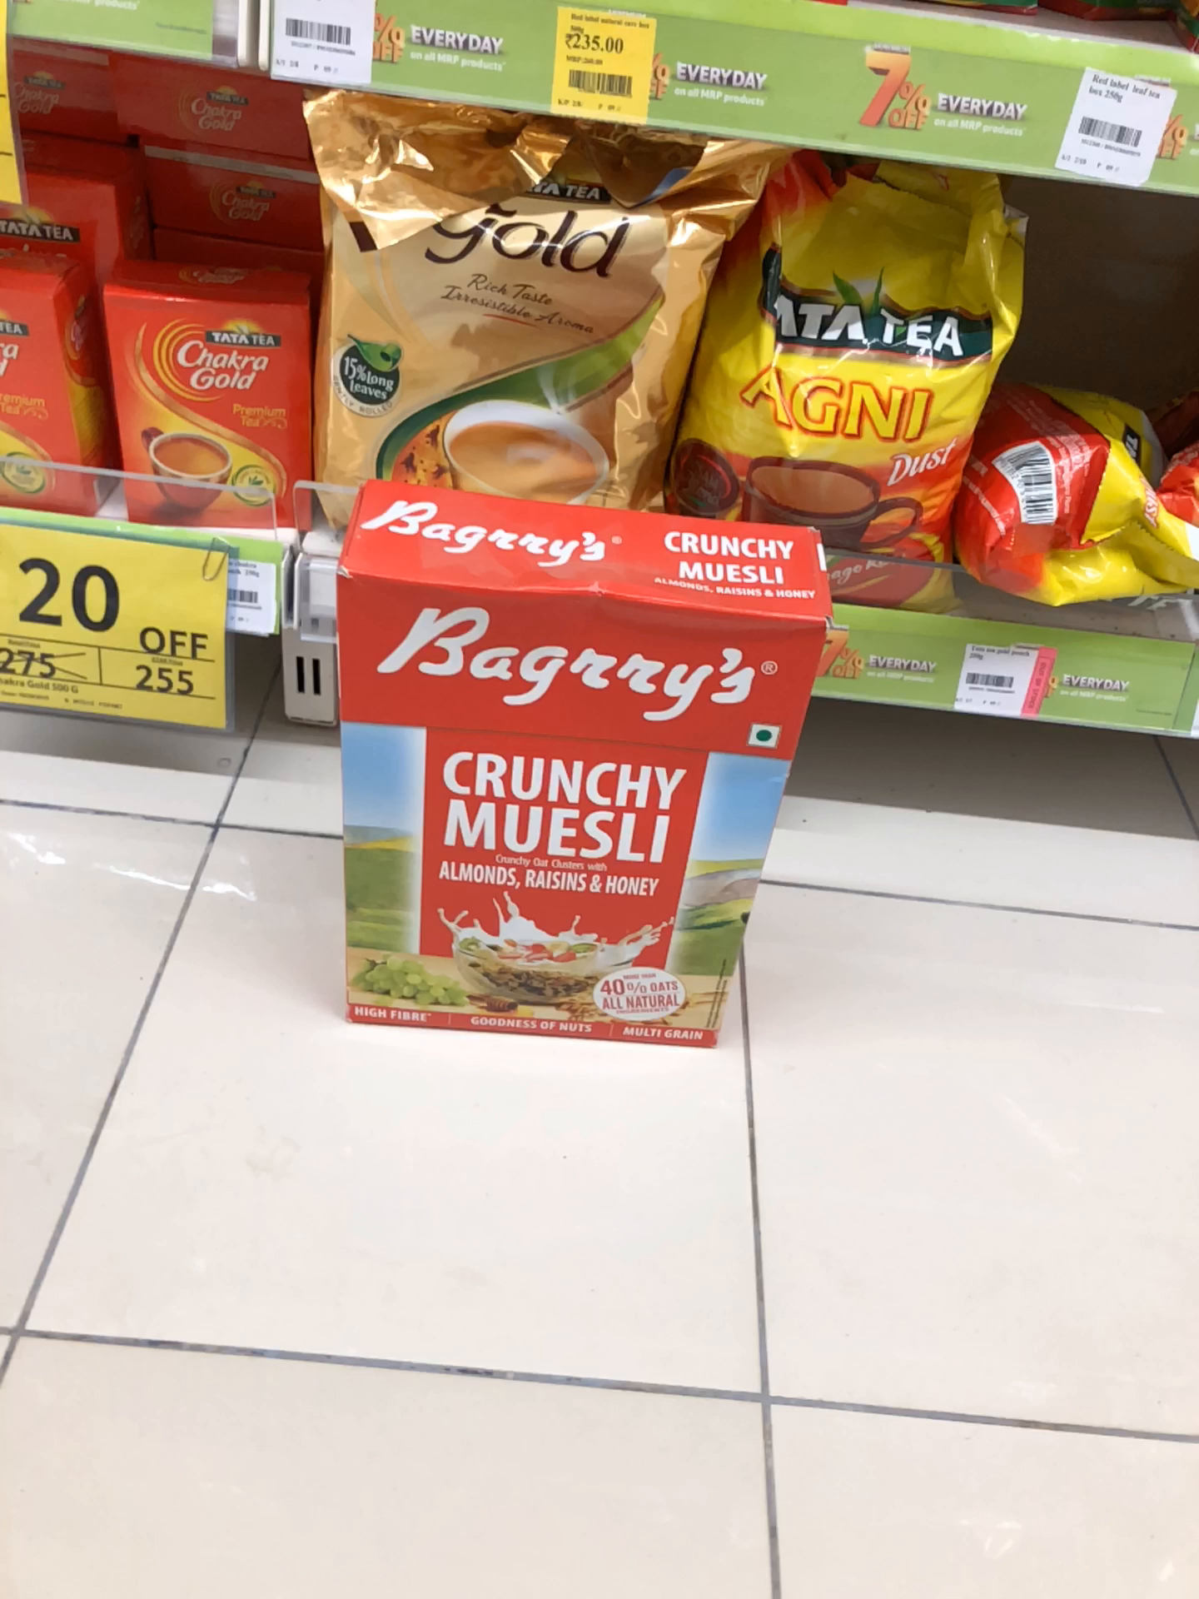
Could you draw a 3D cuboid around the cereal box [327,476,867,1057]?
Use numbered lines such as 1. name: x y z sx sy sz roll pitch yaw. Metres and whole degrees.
1. cereal box: -0.013 0.000 0.603 0.200 0.268 0.070 5 42 -4
